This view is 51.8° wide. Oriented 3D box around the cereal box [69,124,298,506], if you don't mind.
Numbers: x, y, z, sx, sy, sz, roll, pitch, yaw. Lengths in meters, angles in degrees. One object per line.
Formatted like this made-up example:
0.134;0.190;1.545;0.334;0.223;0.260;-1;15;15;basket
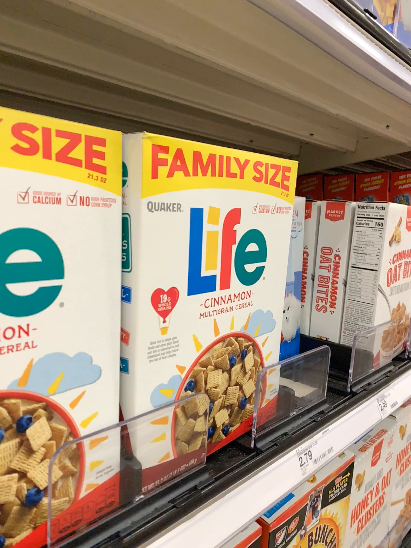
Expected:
-0.013;0.023;0.370;0.190;0.259;0.070;-6;12;-43;cereal box
